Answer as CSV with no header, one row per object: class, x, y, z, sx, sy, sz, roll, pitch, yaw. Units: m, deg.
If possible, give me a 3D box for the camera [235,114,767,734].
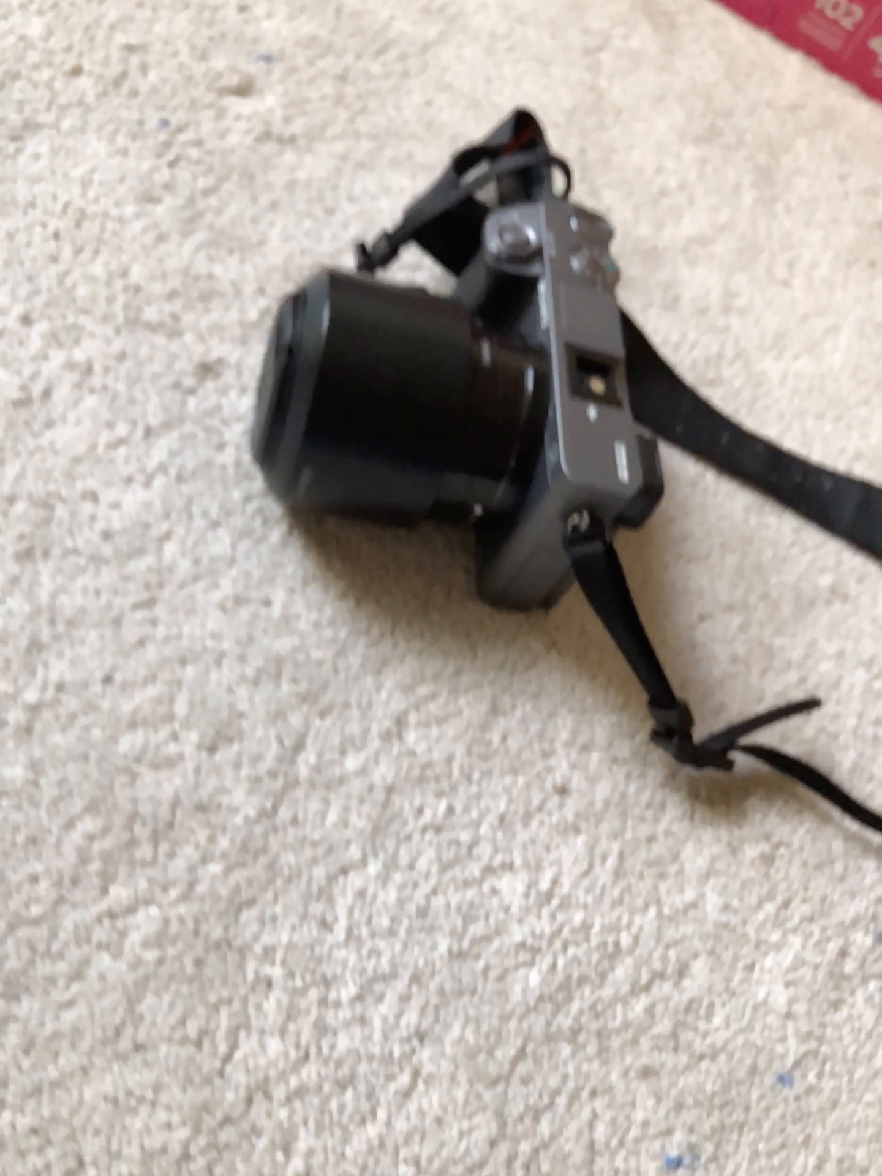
camera,0.010,-0.044,0.278,0.110,0.070,0.141,10,55,-17
